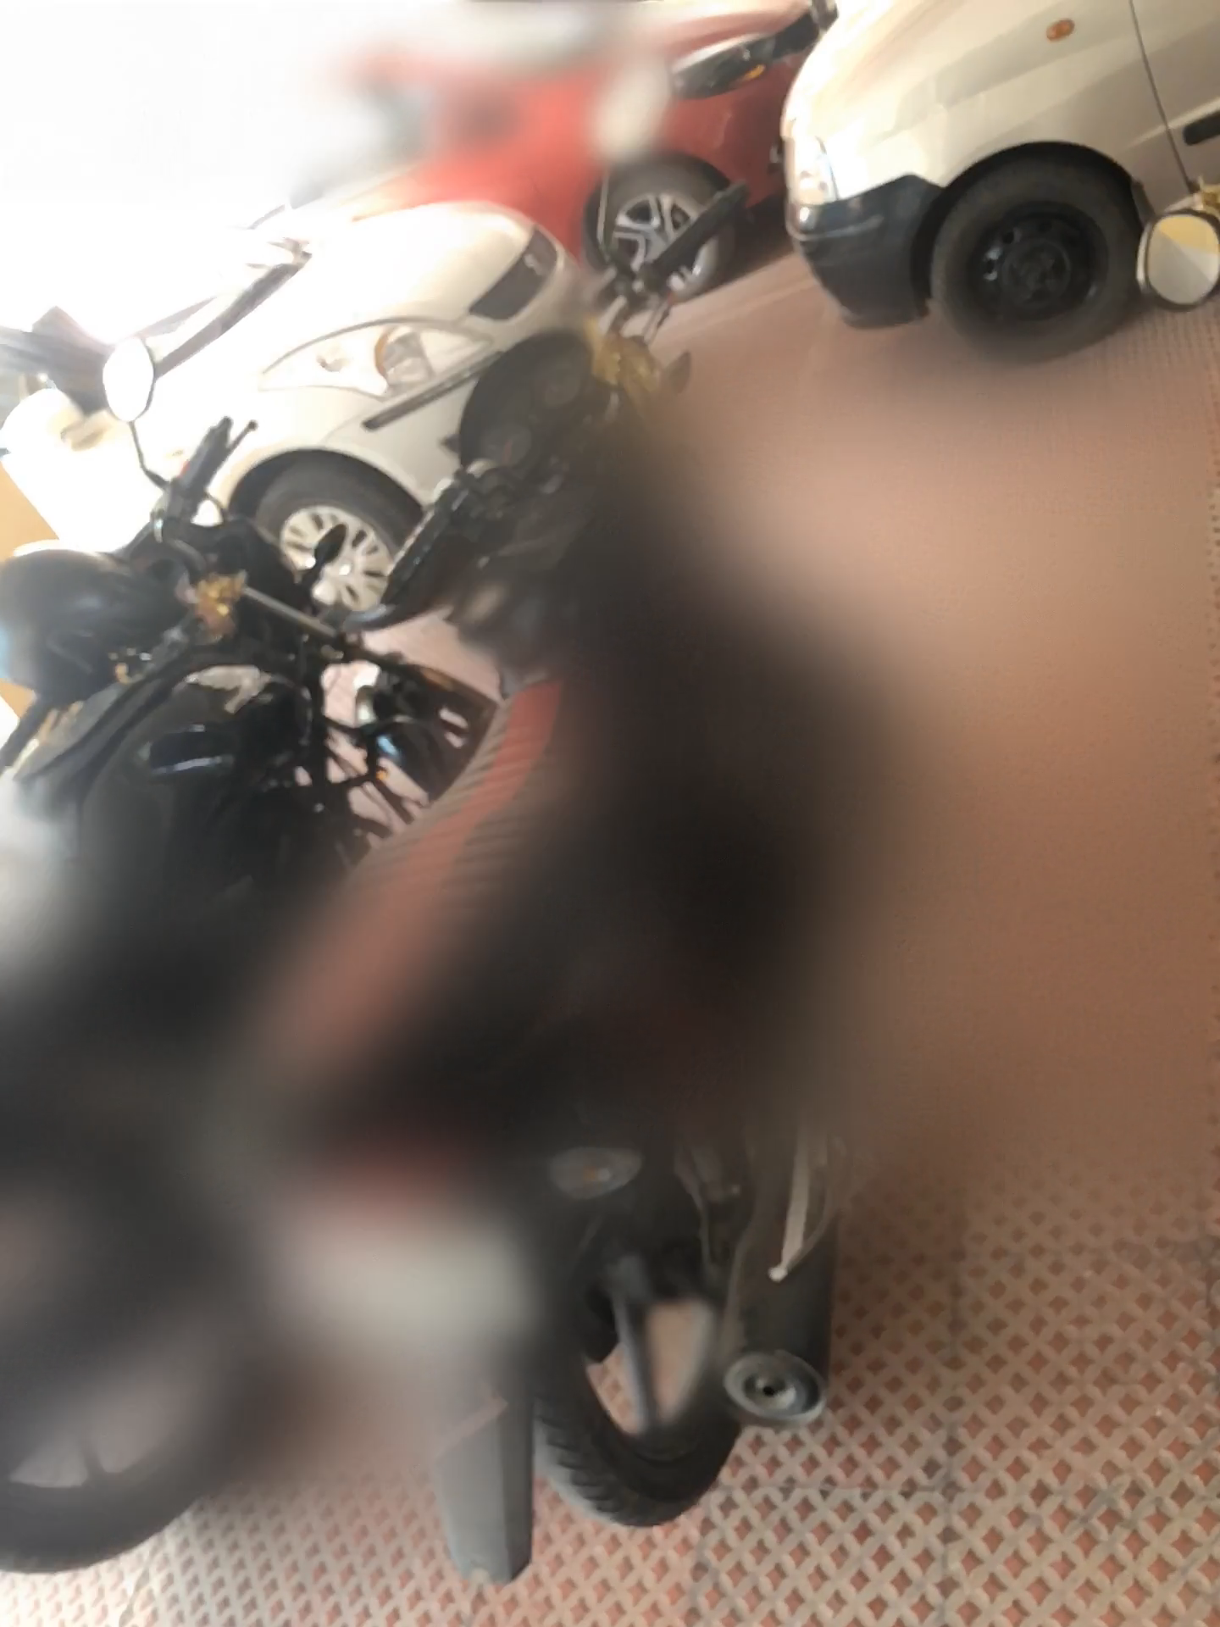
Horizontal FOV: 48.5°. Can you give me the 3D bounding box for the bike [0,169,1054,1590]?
[{"bbox_3d":[-0.082,-0.028,1.816,0.747,1.011,1.560,-19,33,20],"label":"bike"}]
